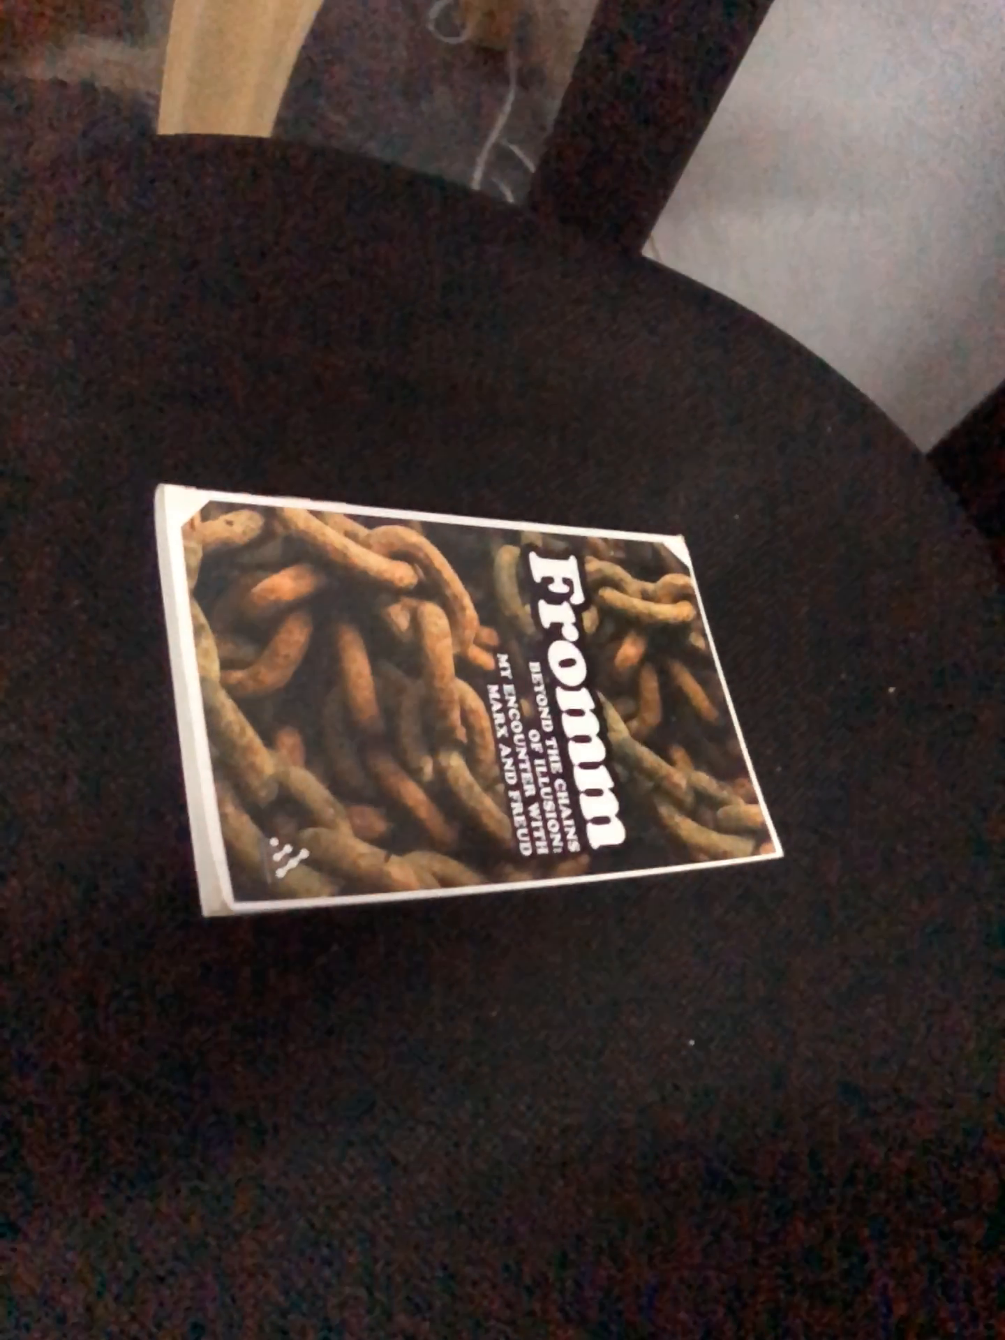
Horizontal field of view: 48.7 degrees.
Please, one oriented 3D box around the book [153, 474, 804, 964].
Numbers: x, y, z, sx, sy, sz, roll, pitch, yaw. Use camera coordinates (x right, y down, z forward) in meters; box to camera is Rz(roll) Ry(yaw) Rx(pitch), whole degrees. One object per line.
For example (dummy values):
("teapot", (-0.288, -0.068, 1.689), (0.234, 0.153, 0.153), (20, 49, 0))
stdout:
("book", (-0.005, 0.010, 0.354), (0.195, 0.016, 0.144), (1, 61, -28))
